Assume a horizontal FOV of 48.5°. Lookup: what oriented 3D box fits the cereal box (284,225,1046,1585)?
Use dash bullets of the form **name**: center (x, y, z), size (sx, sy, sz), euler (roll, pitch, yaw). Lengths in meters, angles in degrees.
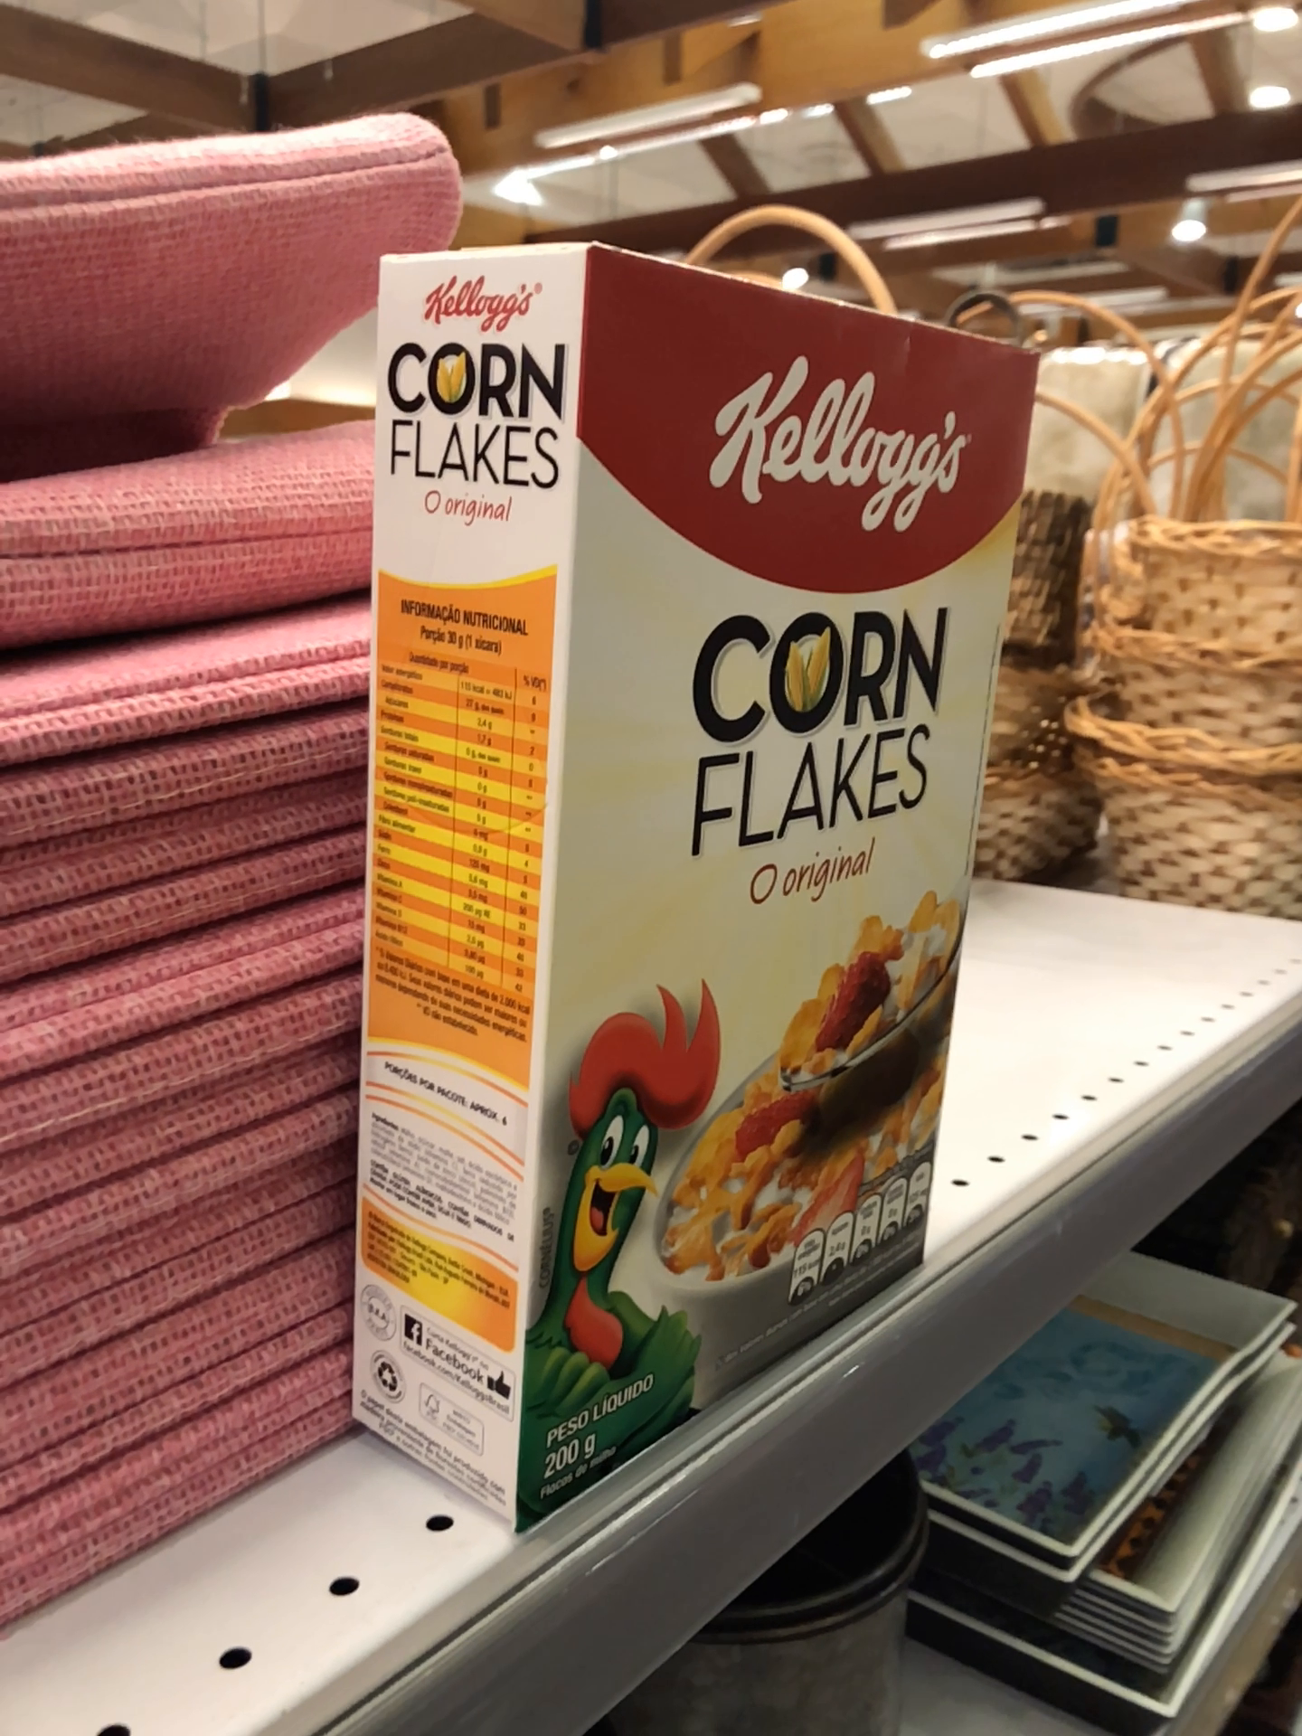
- **cereal box**: center (0.008, 0.001, 0.349), size (0.060, 0.259, 0.180), euler (17, 19, 38)
